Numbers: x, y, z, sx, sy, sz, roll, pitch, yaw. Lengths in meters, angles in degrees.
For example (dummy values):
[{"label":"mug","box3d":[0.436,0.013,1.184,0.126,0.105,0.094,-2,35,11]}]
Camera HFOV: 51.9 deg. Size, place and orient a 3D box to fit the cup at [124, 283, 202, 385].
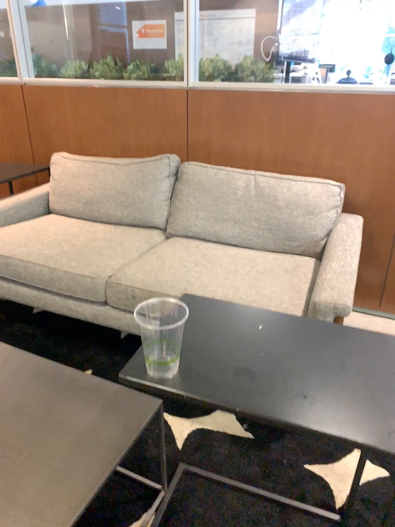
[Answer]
[{"label":"cup","box3d":[-0.059,0.125,0.741,0.100,0.129,0.100,0,25,0]}]
